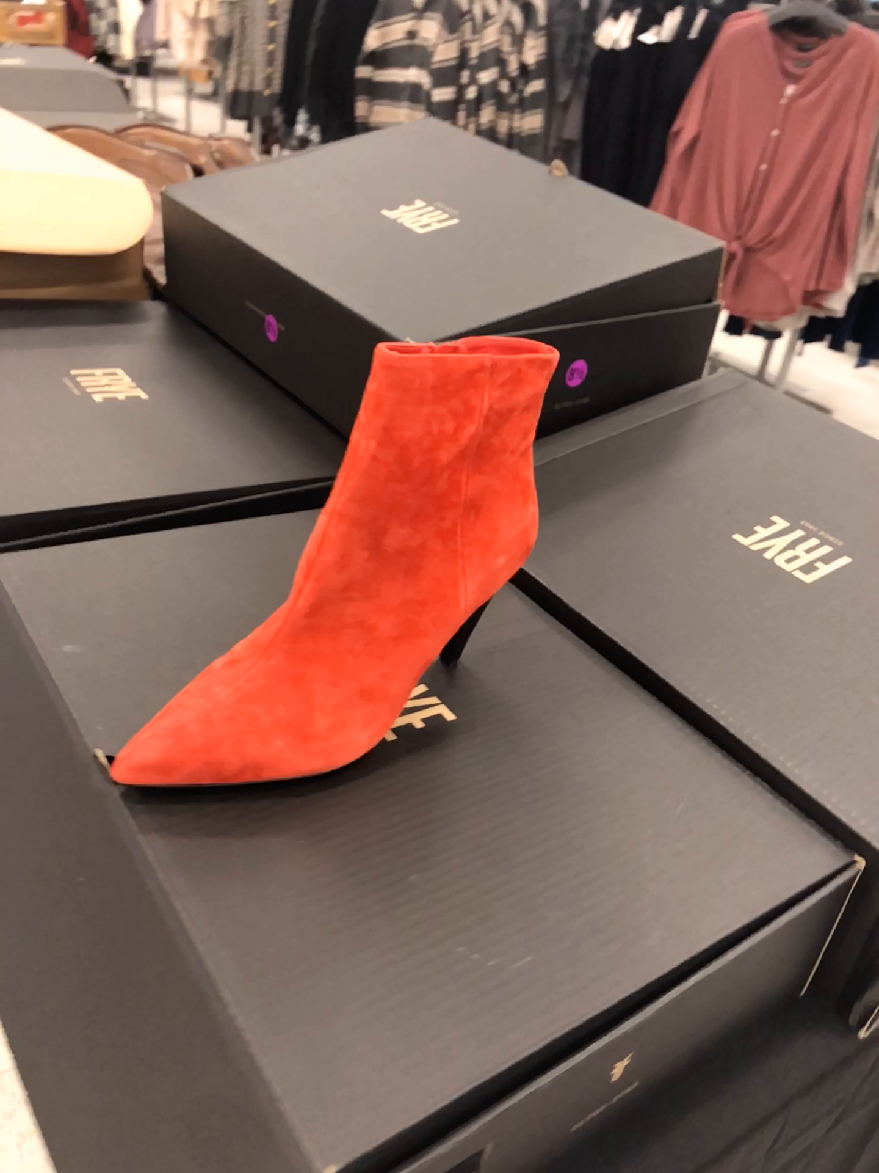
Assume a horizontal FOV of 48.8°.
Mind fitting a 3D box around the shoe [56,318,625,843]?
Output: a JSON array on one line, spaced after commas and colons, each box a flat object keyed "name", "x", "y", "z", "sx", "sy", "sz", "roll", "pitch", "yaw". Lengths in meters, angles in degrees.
[{"name": "shoe", "x": -0.052, "y": -0.021, "z": 0.511, "sx": 0.261, "sy": 0.211, "sz": 0.100, "roll": -13, "pitch": 37, "yaw": -39}]
